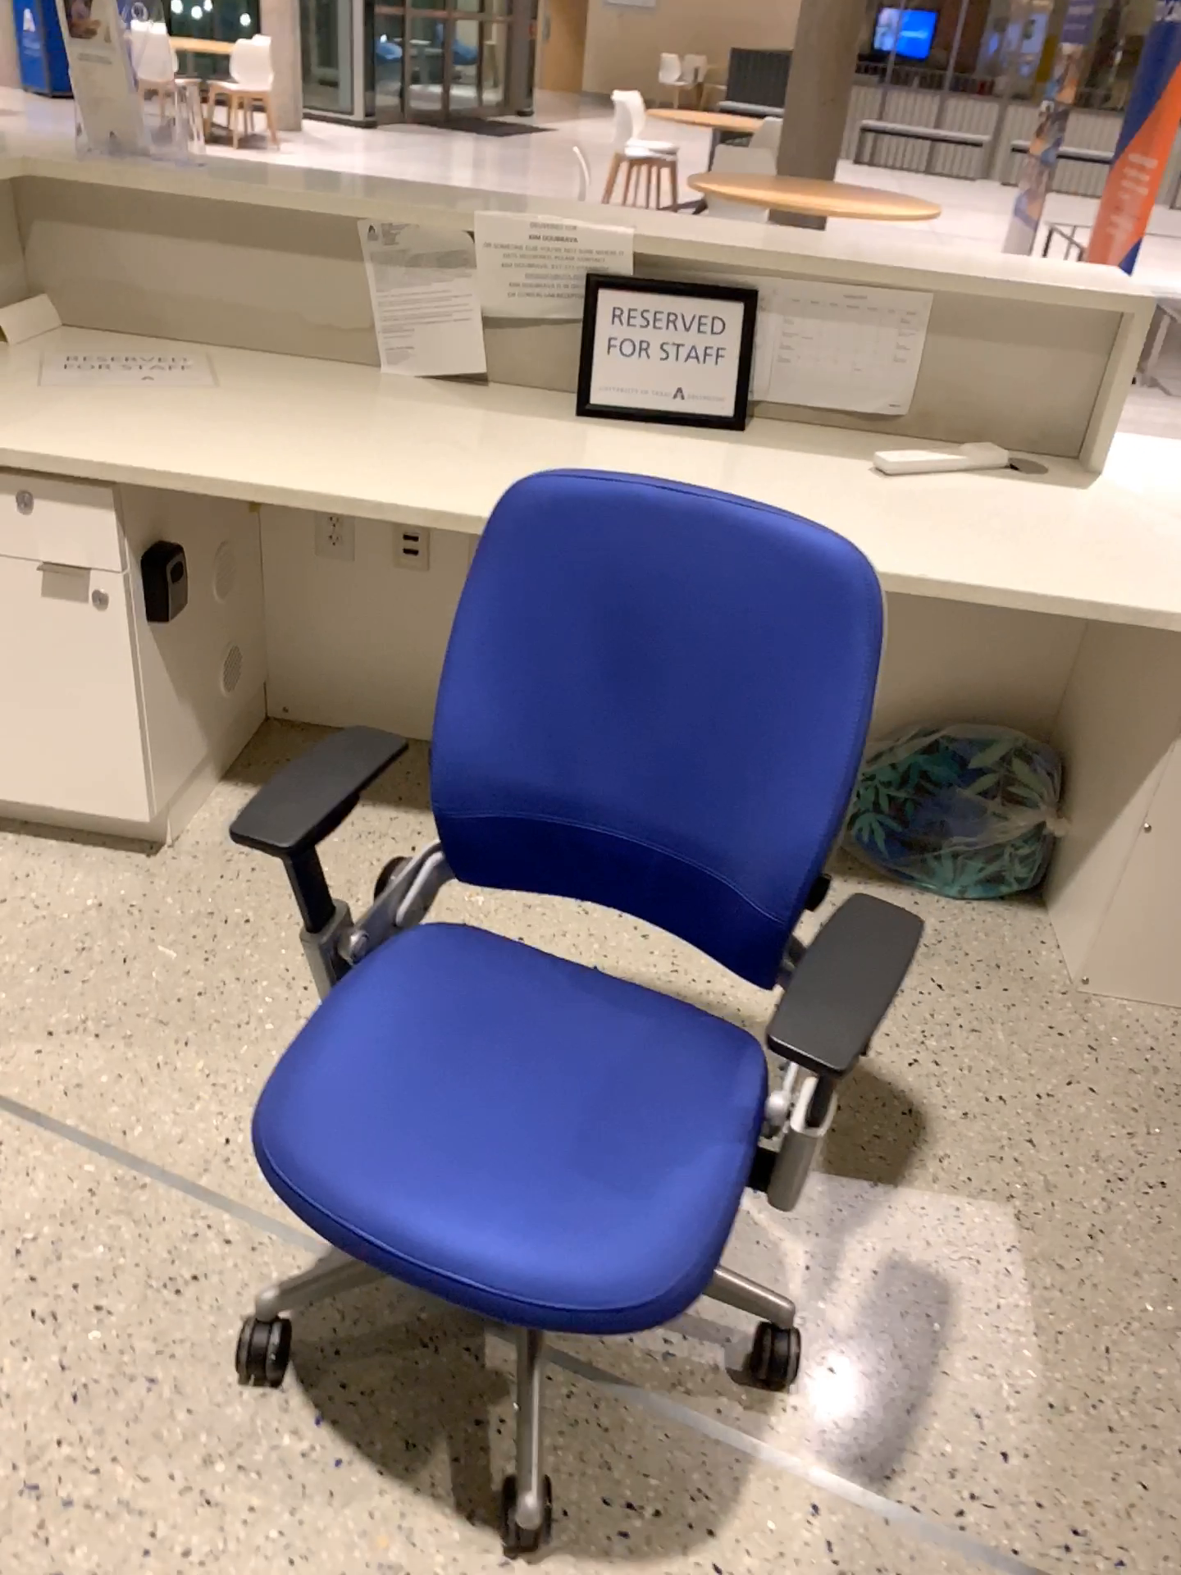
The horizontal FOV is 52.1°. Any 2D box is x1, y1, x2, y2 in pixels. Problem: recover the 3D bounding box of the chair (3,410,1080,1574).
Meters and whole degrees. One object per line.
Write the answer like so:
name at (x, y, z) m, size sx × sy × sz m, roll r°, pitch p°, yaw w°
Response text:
chair at (-0.025, 0.203, 1.242) m, size 0.698 × 0.906 × 0.609 m, roll 18°, pitch 34°, yaw 18°
